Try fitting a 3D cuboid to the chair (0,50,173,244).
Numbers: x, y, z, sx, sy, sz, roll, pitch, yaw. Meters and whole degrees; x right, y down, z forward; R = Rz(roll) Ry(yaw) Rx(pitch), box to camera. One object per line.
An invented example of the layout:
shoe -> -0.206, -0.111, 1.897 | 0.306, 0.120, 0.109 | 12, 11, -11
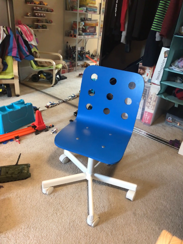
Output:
chair -> -0.005, 0.119, 1.112 | 0.620, 0.814, 0.675 | 17, 30, 16
